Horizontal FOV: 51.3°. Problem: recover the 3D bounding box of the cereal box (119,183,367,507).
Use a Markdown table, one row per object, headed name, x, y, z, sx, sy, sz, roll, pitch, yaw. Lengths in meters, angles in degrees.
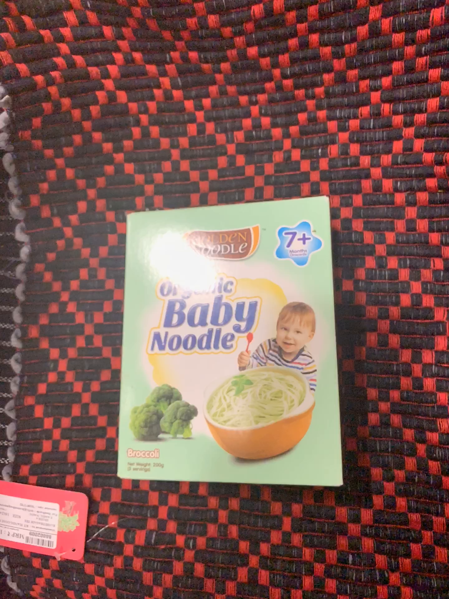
| name | x | y | z | sx | sy | sz | roll | pitch | yaw |
| --- | --- | --- | --- | --- | --- | --- | --- | --- | --- |
| cereal box | 0.012 | 0.026 | 0.287 | 0.130 | 0.060 | 0.170 | -3 | 79 | 11 |
